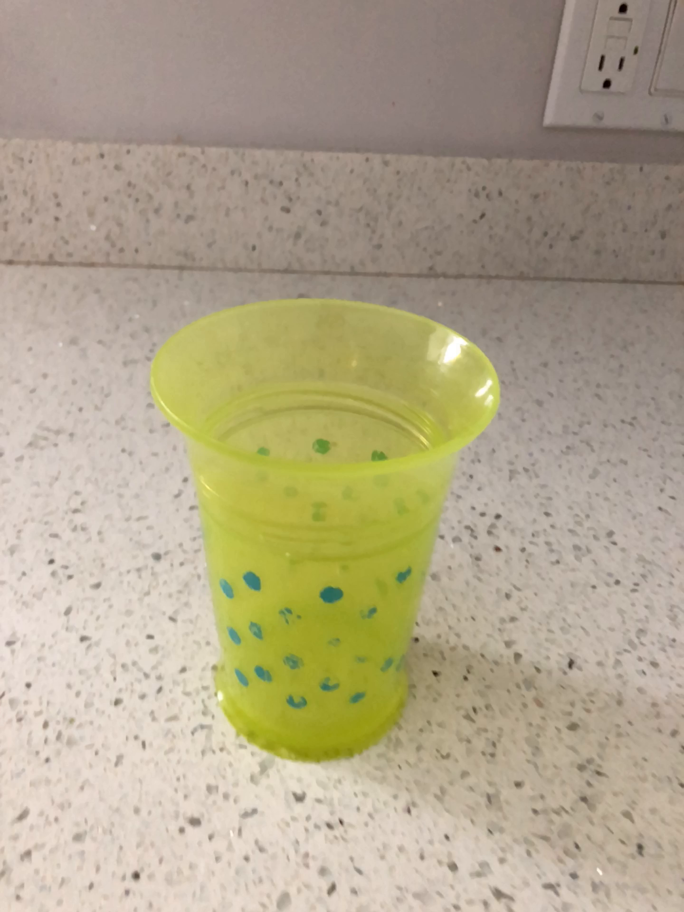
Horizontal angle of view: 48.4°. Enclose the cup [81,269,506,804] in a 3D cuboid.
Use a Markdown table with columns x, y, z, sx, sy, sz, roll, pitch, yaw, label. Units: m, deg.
| x | y | z | sx | sy | sz | roll | pitch | yaw | label |
| --- | --- | --- | --- | --- | --- | --- | --- | --- | --- |
| -0.009 | 0.019 | 0.209 | 0.078 | 0.109 | 0.073 | 2 | 34 | -1 | cup |
